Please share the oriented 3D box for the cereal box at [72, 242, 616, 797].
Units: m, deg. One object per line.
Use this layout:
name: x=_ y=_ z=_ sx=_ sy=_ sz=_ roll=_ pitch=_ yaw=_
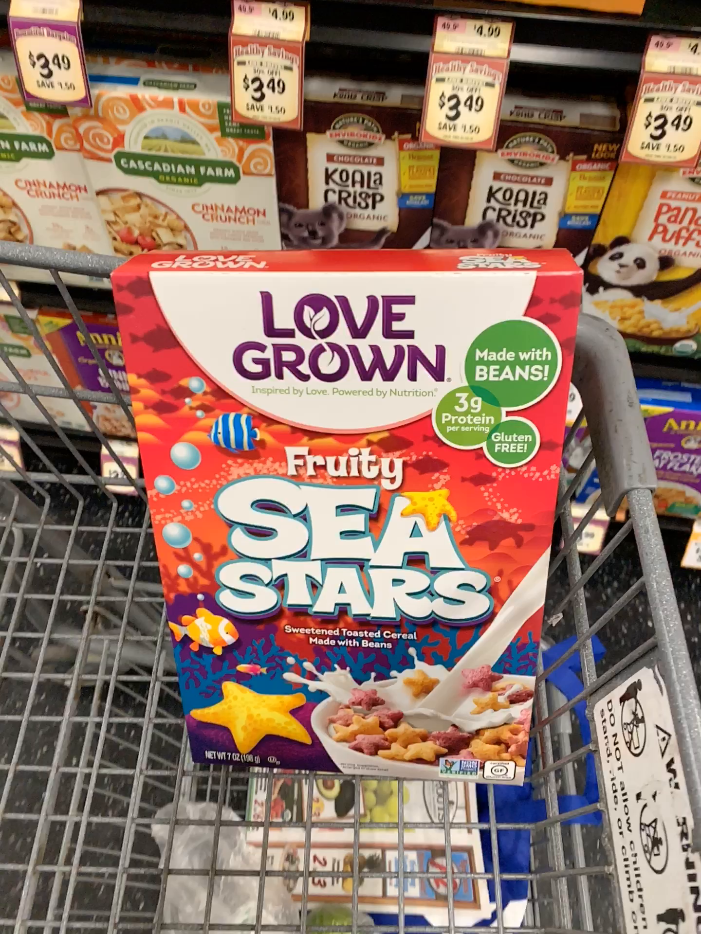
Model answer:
cereal box: x=-0.001 y=0.034 z=0.319 sx=0.180 sy=0.250 sz=0.050 roll=2 pitch=29 yaw=6
